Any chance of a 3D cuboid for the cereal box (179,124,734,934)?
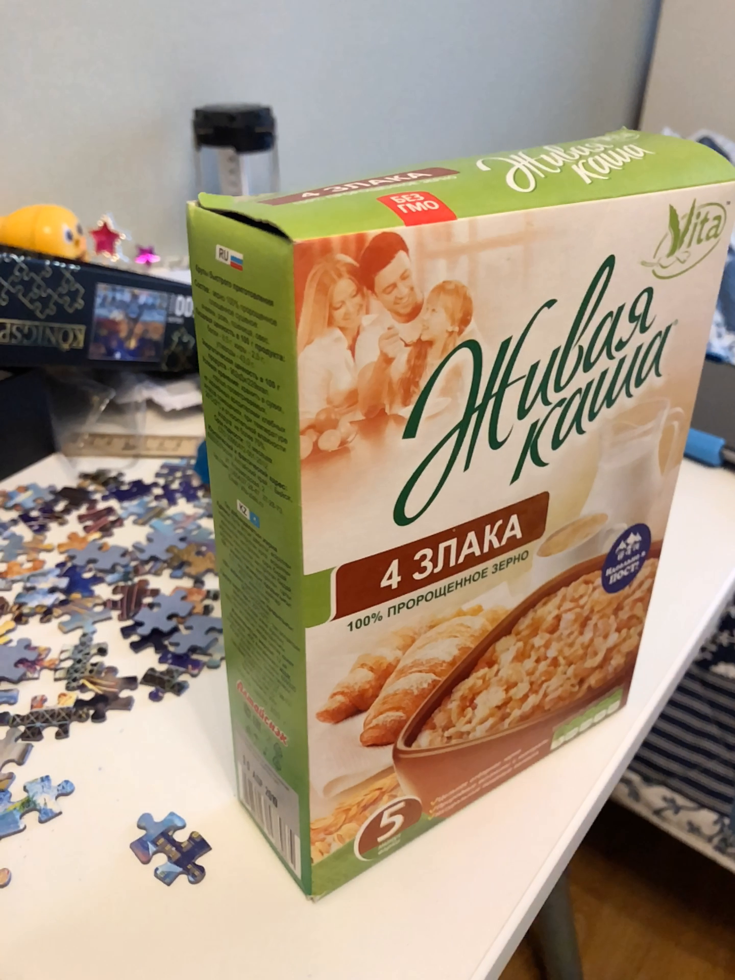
[{"bbox_3d":[0.029,0.010,0.244,0.140,0.209,0.050,-18,34,-31],"label":"cereal box"}]
